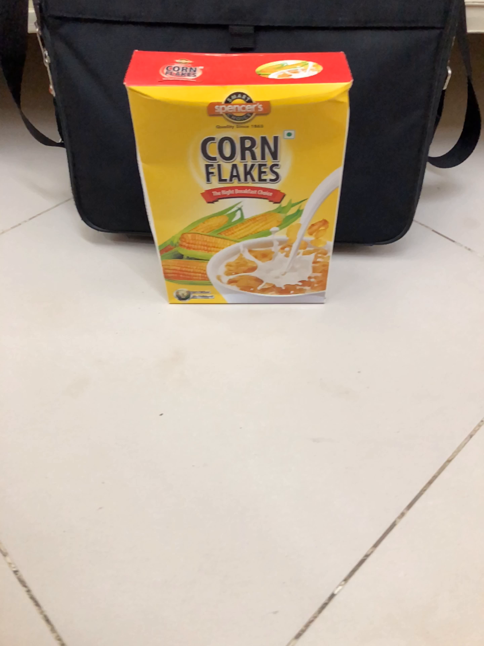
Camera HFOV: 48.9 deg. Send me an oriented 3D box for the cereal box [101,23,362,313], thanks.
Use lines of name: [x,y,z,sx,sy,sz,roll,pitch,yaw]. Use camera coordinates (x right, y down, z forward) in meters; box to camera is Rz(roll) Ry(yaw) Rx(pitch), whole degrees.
cereal box: [-0.001,-0.125,0.511,0.190,0.268,0.070,0,49,3]
